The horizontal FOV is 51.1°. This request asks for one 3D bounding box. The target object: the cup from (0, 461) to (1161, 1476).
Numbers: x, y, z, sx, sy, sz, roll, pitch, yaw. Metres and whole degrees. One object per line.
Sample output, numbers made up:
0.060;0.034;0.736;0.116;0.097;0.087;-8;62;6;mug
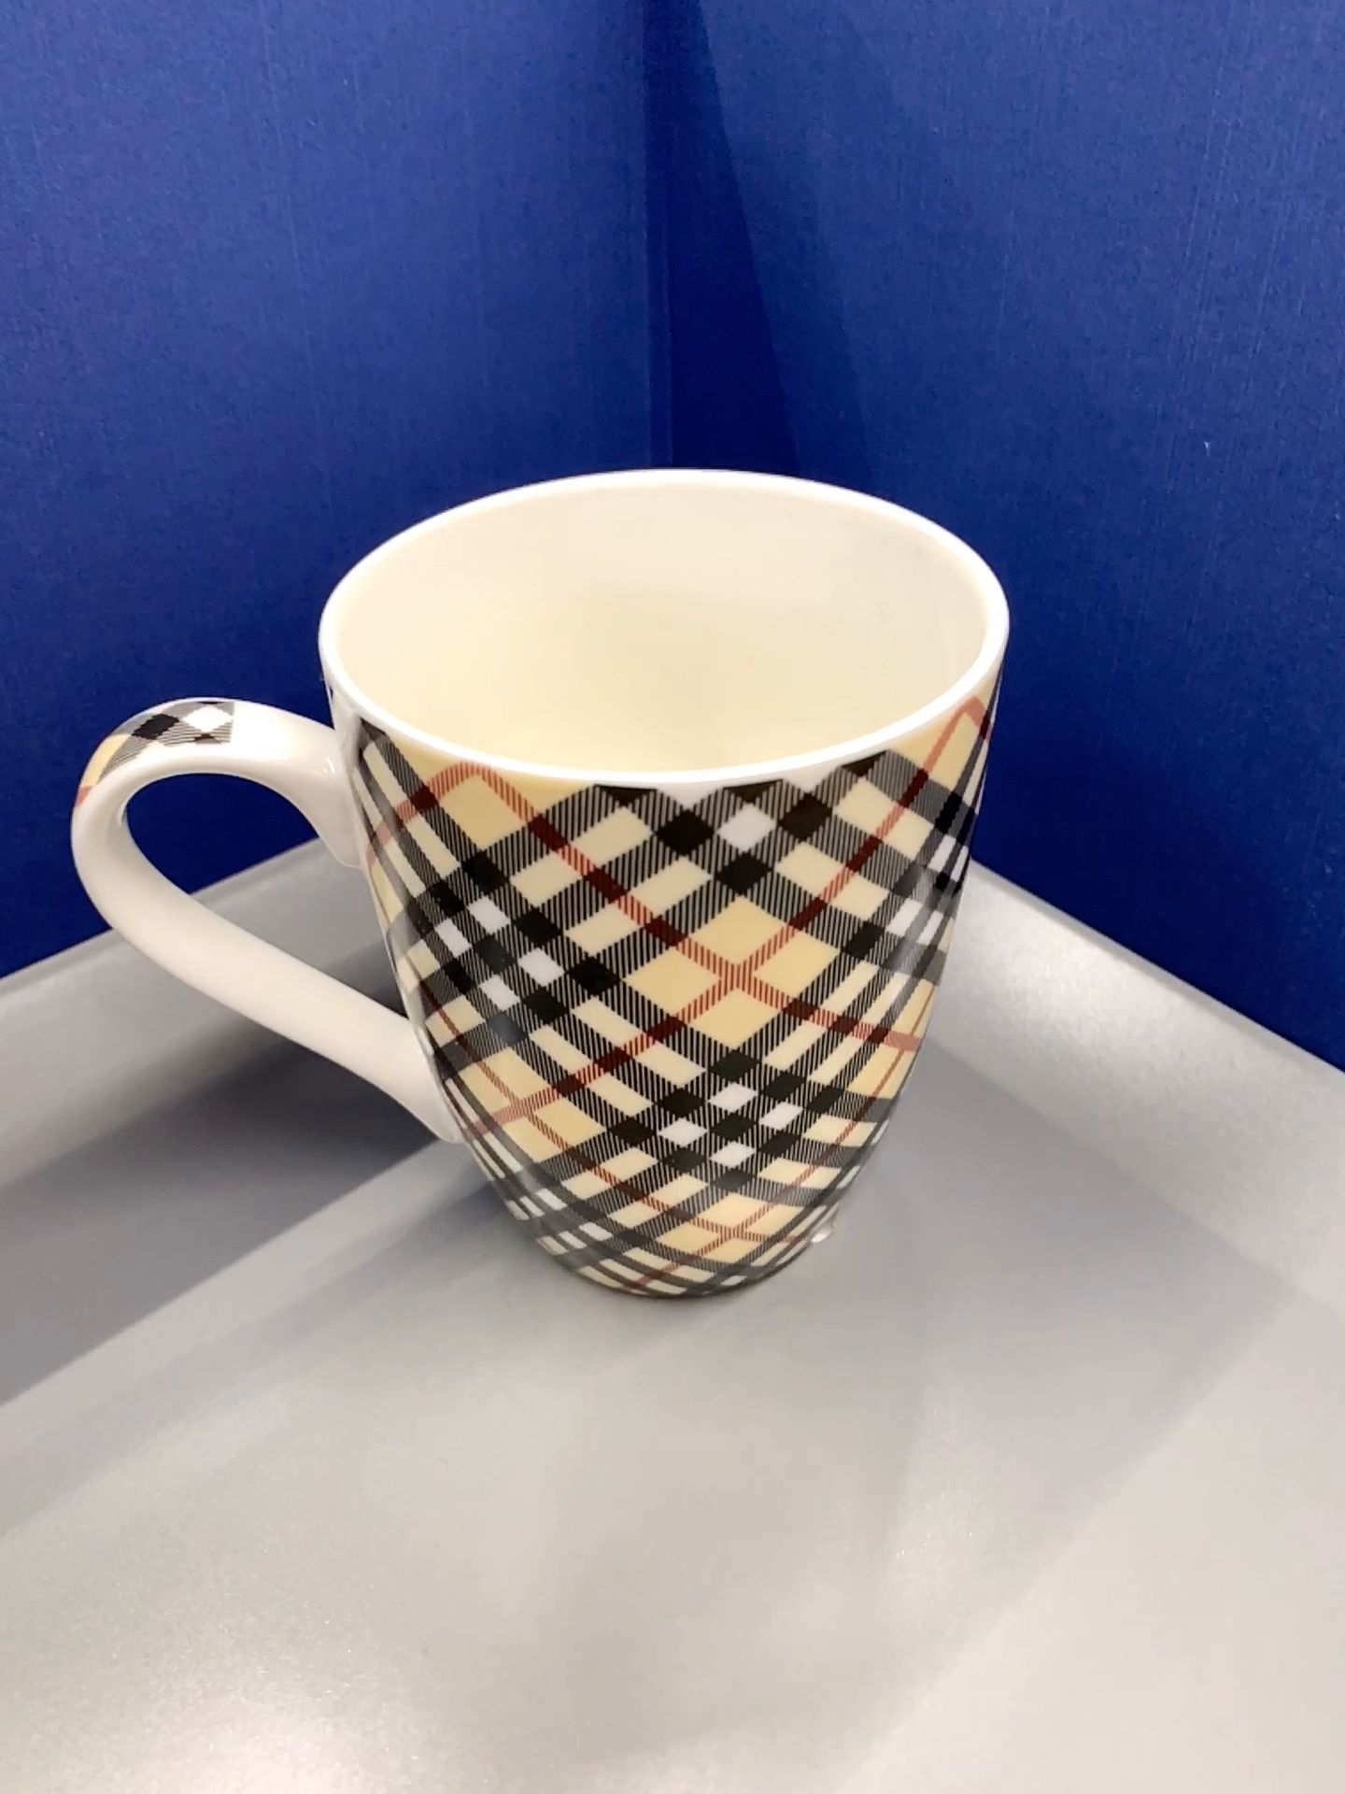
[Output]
-0.016;0.007;0.198;0.120;0.104;0.091;-2;35;-2;cup
